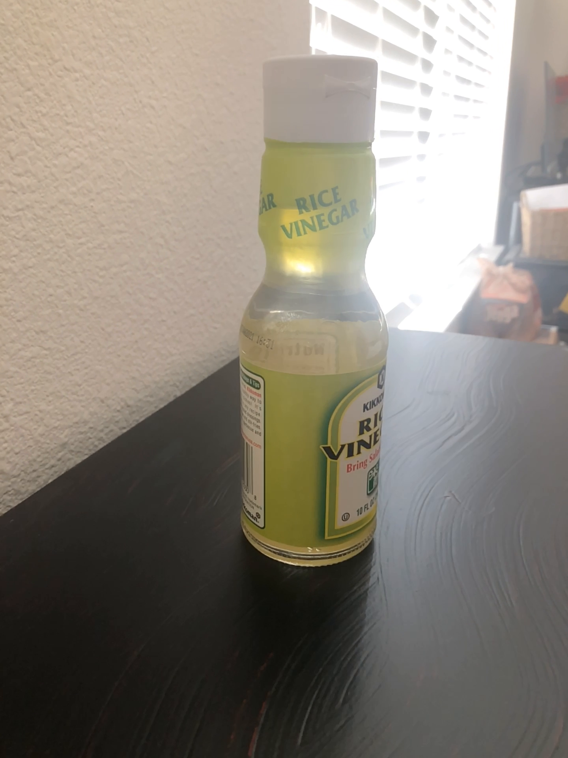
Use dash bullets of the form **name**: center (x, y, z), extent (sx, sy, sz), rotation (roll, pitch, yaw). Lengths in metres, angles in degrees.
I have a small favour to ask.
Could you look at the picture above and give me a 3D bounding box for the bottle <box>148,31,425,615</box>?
- **bottle**: center (0.005, -0.020, 0.254), extent (0.070, 0.199, 0.070), rotation (-1, 20, 0)
